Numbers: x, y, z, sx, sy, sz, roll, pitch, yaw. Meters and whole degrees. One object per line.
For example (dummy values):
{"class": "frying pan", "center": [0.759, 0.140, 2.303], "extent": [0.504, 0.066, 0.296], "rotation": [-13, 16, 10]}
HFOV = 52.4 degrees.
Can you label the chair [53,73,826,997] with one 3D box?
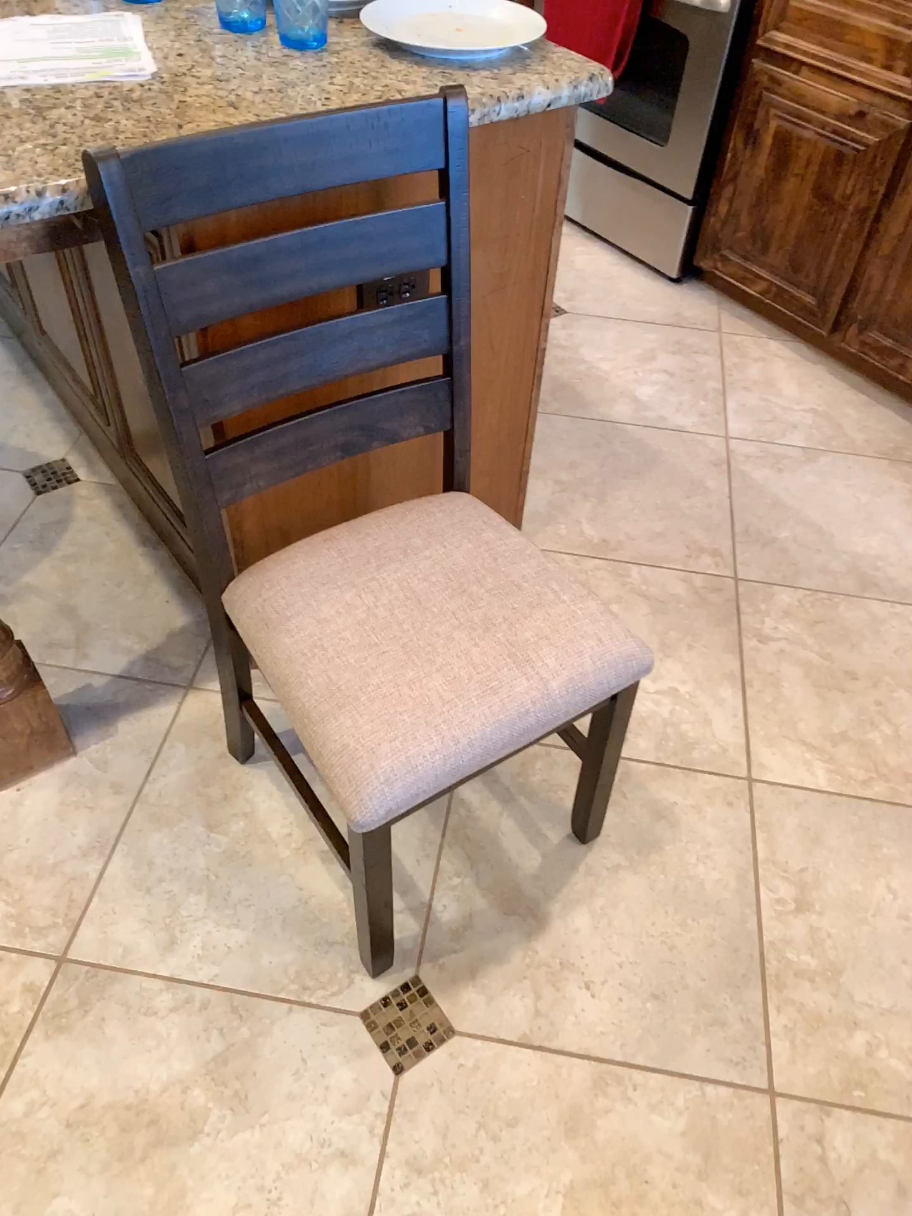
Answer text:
{"class": "chair", "center": [-0.054, -0.045, 1.147], "extent": [0.467, 0.910, 0.526], "rotation": [-25, 53, -25]}
